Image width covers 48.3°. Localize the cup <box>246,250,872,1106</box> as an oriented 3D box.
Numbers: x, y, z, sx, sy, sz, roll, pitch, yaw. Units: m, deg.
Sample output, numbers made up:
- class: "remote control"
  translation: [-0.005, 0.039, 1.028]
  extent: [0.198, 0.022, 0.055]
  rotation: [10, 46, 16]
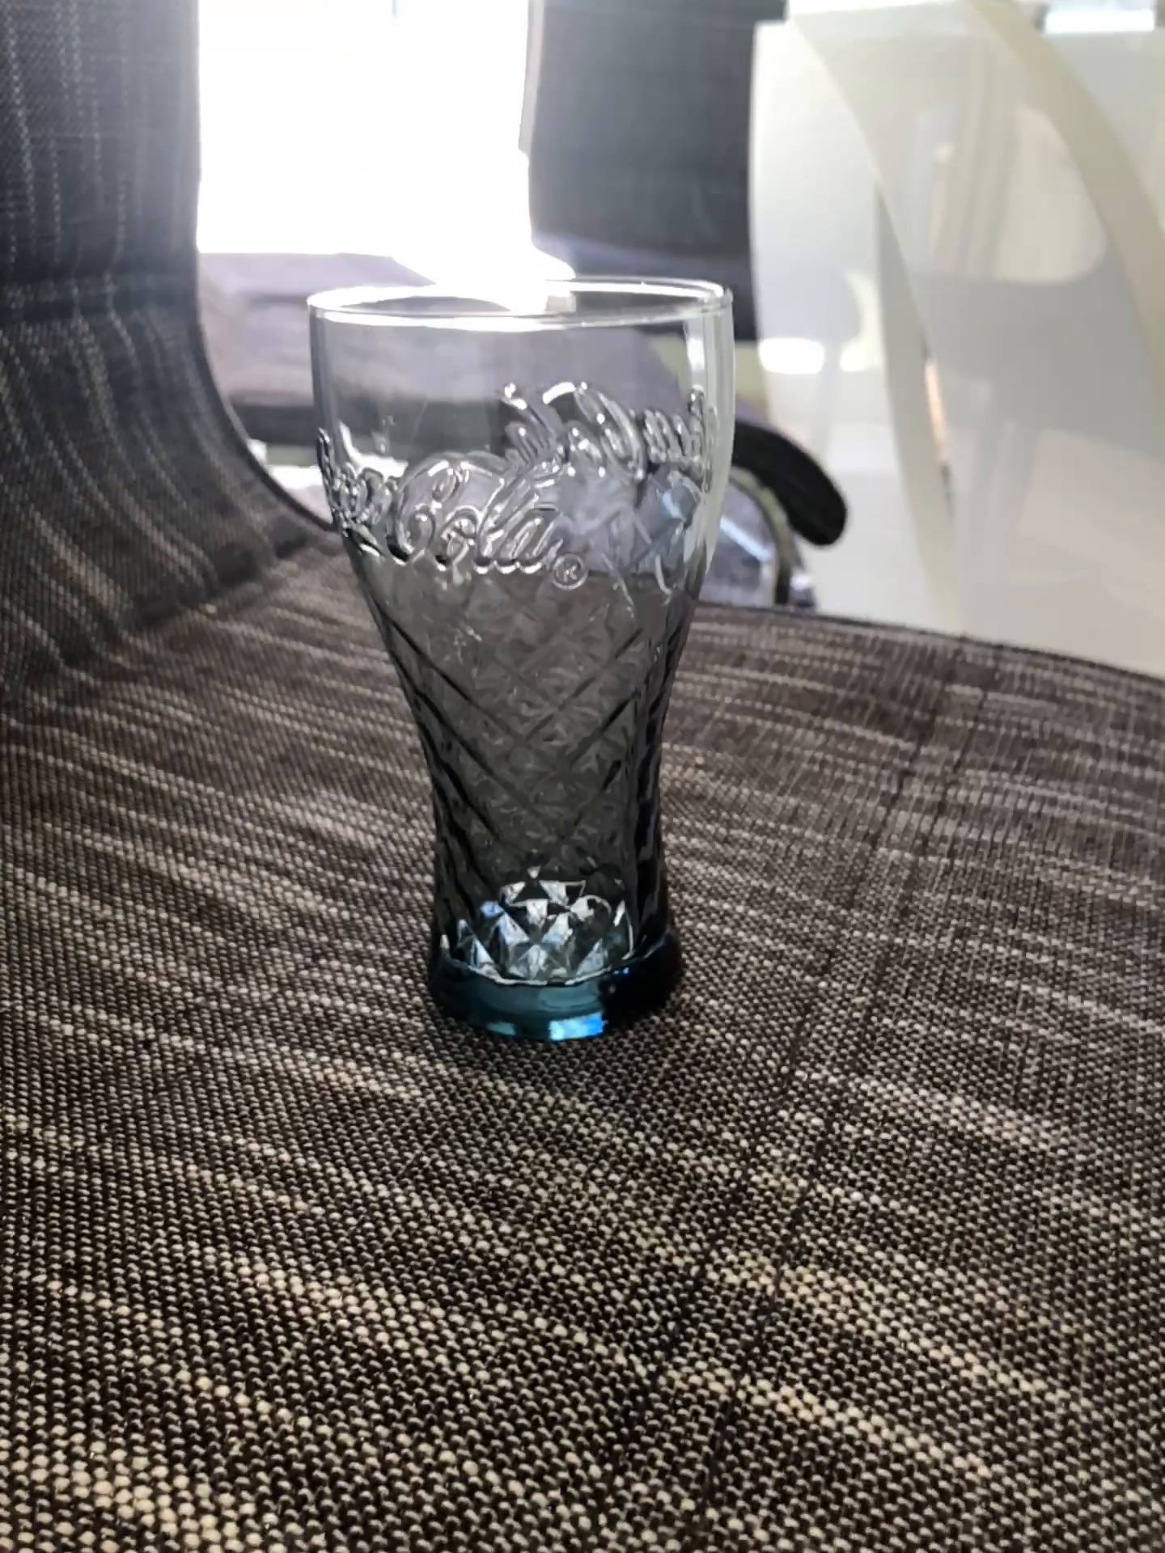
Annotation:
- class: "cup"
  translation: [-0.004, -0.028, 0.258]
  extent: [0.080, 0.139, 0.080]
  rotation: [-2, 22, 1]
